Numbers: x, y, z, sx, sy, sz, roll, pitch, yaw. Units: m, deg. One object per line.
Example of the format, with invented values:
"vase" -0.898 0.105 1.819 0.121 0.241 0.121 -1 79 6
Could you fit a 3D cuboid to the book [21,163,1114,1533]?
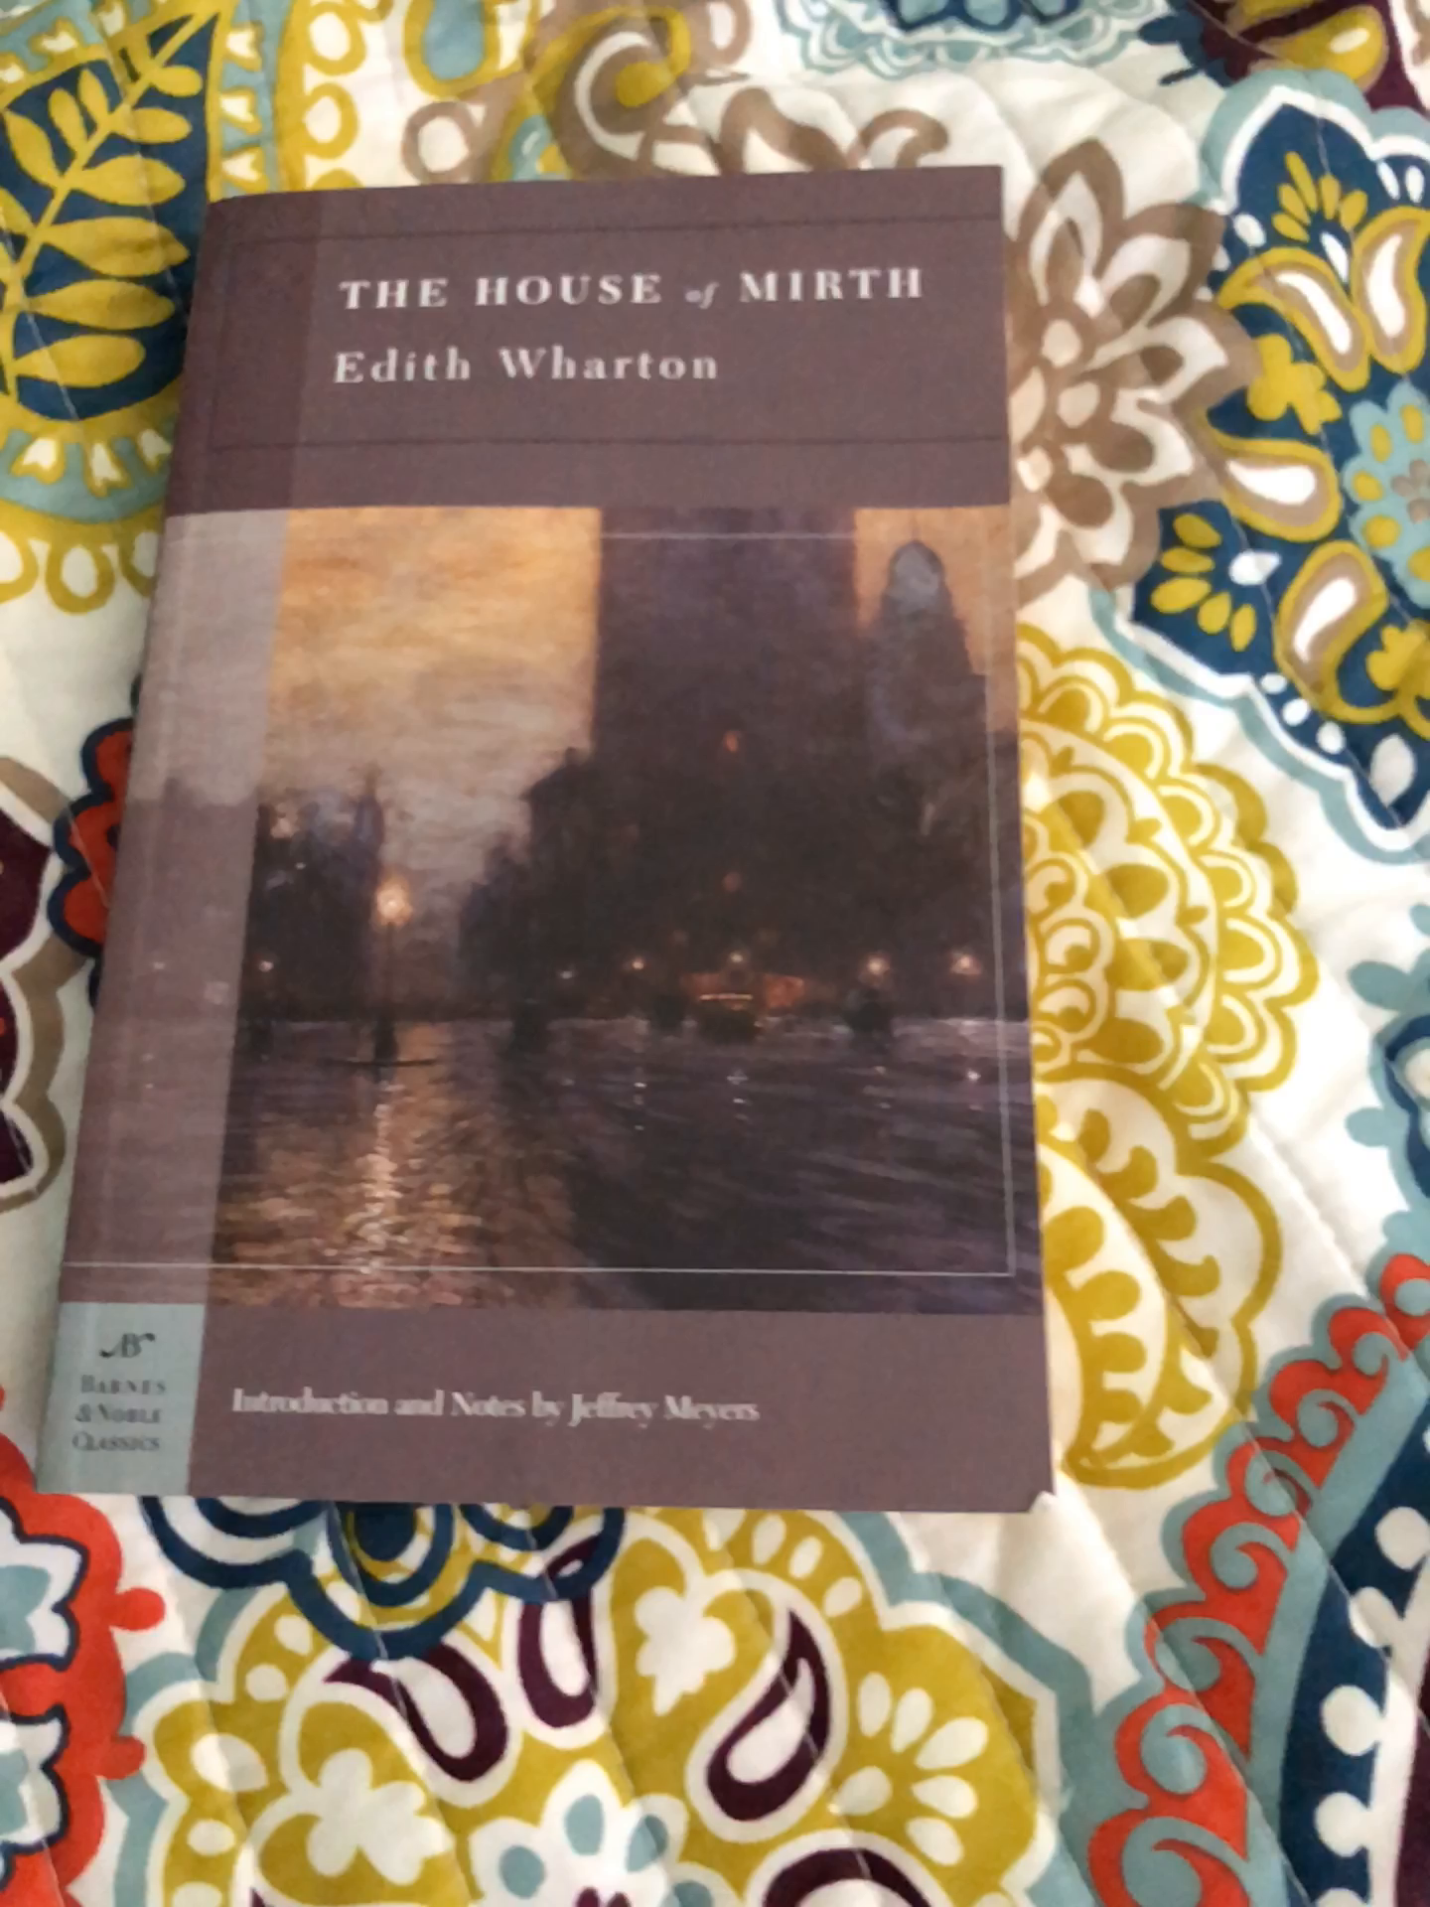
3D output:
"book" -0.018 -0.019 0.245 0.141 0.040 0.195 -1 78 5
